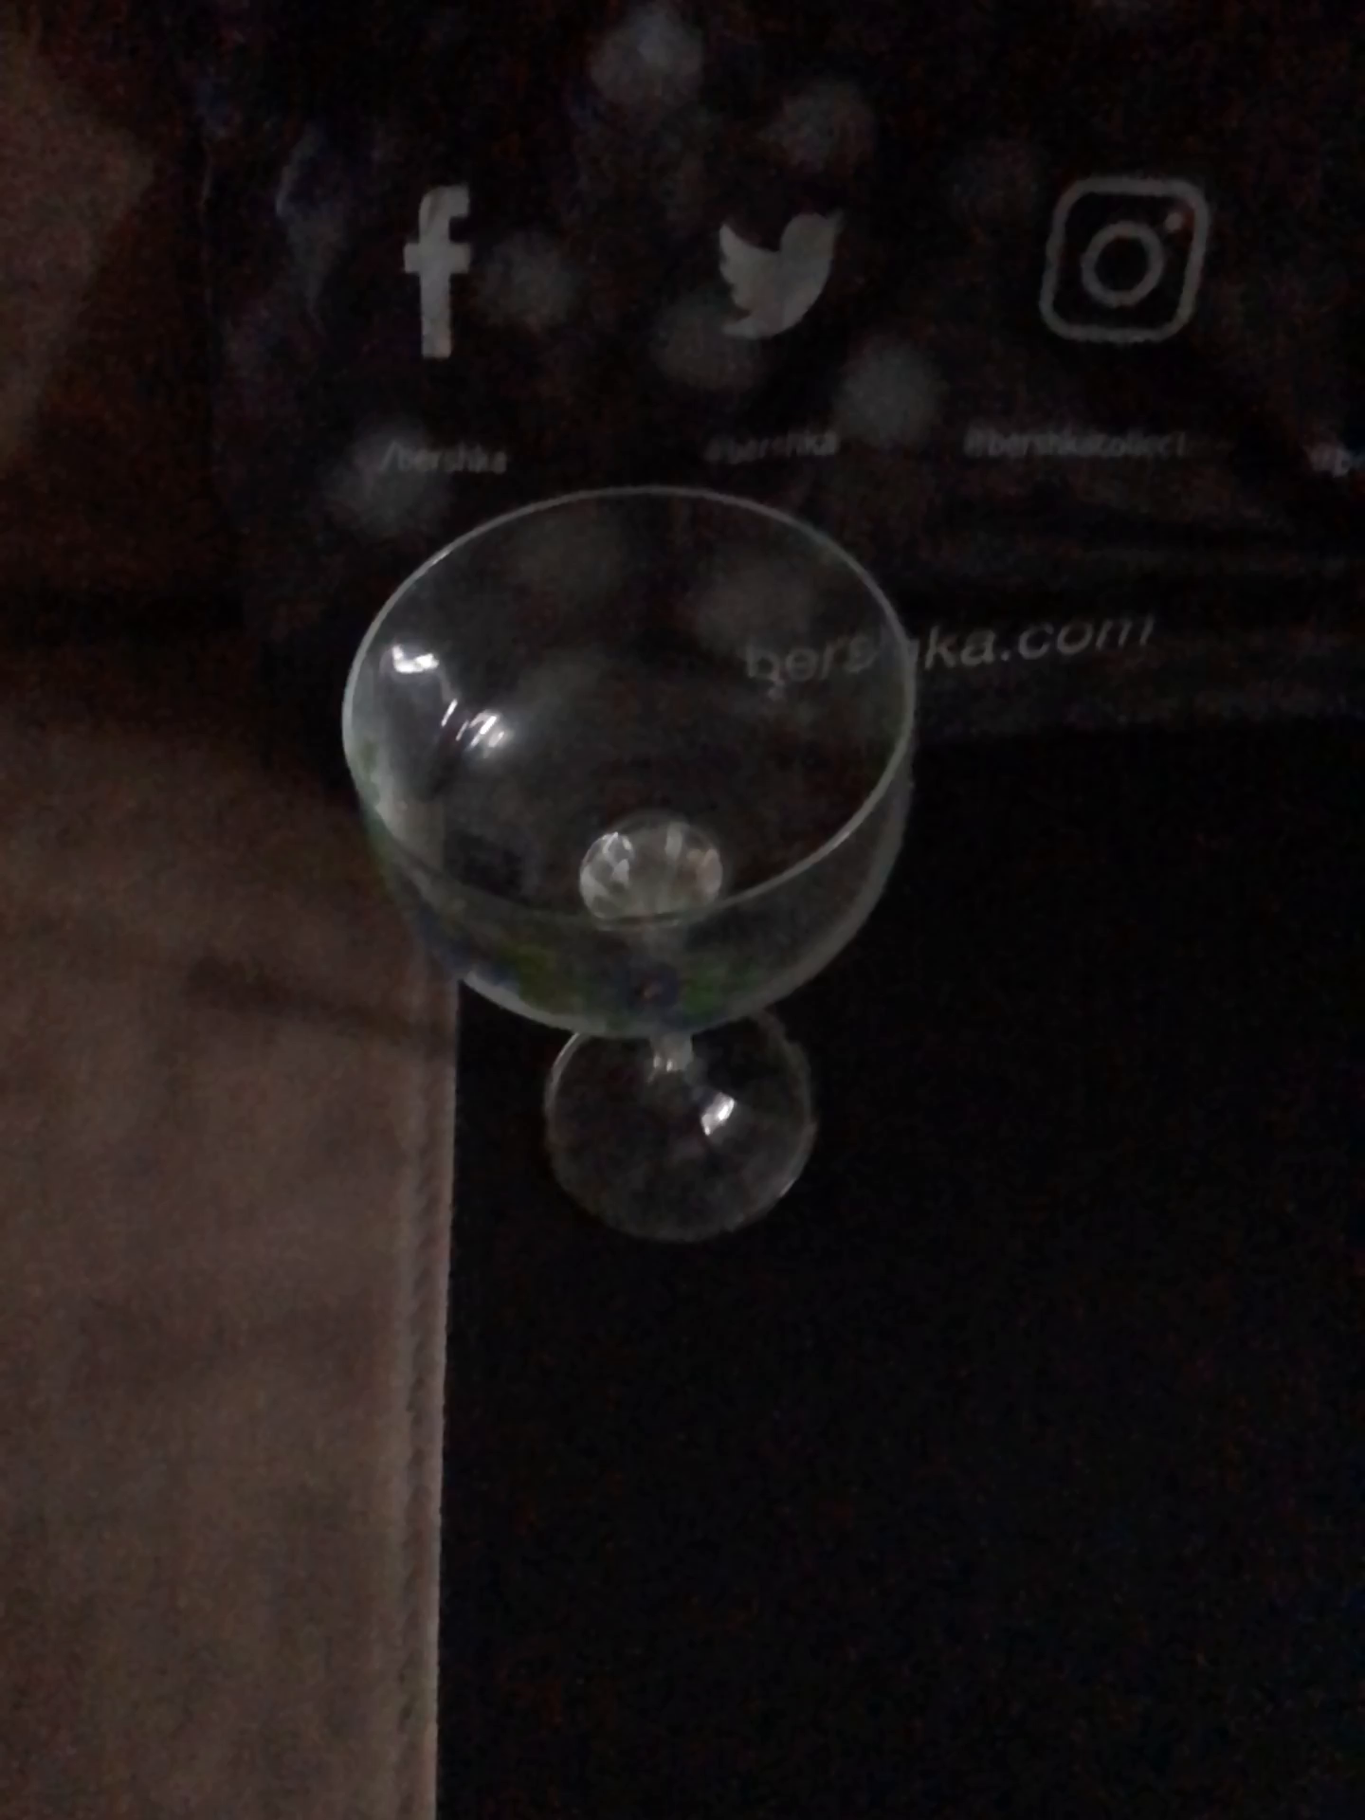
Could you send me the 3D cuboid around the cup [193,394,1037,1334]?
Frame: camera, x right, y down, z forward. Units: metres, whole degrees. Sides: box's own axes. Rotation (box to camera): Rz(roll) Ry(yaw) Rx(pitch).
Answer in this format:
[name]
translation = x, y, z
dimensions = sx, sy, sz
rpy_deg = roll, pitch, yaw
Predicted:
[cup]
translation = -0.007, 0.002, 0.287
dimensions = 0.096, 0.147, 0.085
rpy_deg = 23, 63, 14
